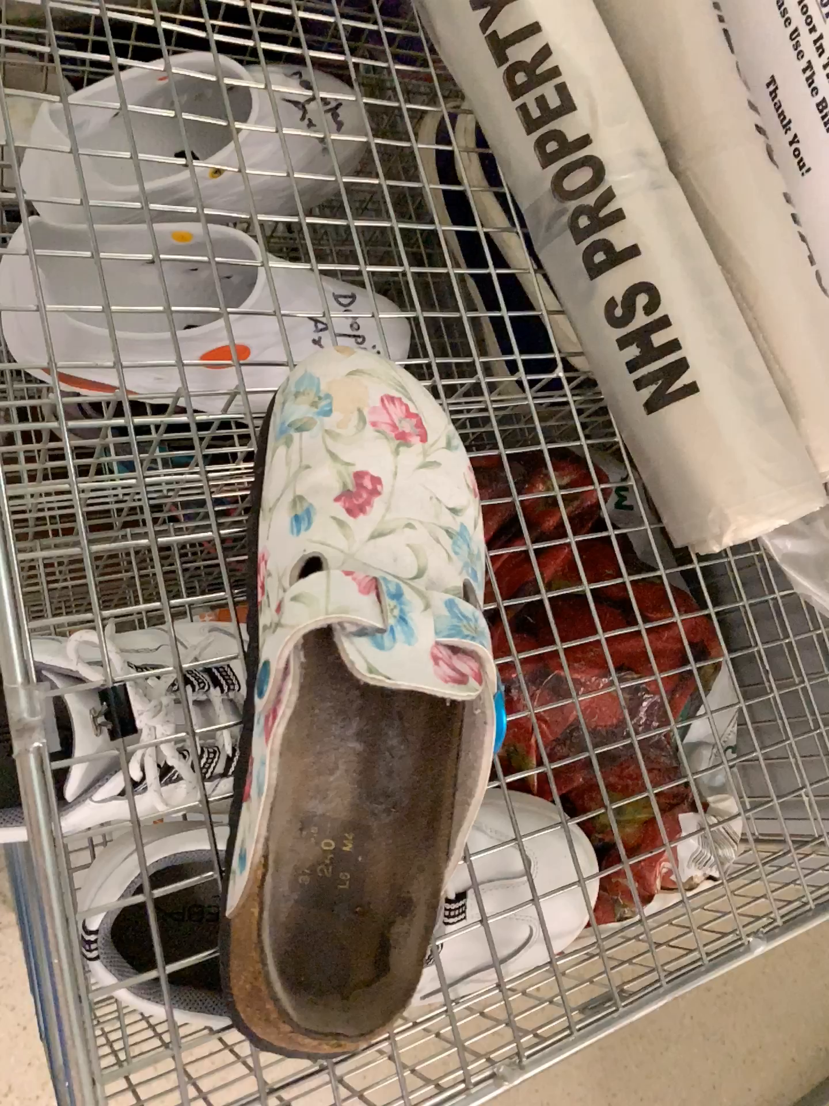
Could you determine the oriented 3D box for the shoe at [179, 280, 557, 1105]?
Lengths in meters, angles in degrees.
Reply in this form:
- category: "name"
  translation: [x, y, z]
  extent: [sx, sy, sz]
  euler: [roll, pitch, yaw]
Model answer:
- category: "shoe"
  translation: [-0.013, 0.045, 0.308]
  extent: [0.100, 0.070, 0.260]
  euler: [10, 70, -23]
